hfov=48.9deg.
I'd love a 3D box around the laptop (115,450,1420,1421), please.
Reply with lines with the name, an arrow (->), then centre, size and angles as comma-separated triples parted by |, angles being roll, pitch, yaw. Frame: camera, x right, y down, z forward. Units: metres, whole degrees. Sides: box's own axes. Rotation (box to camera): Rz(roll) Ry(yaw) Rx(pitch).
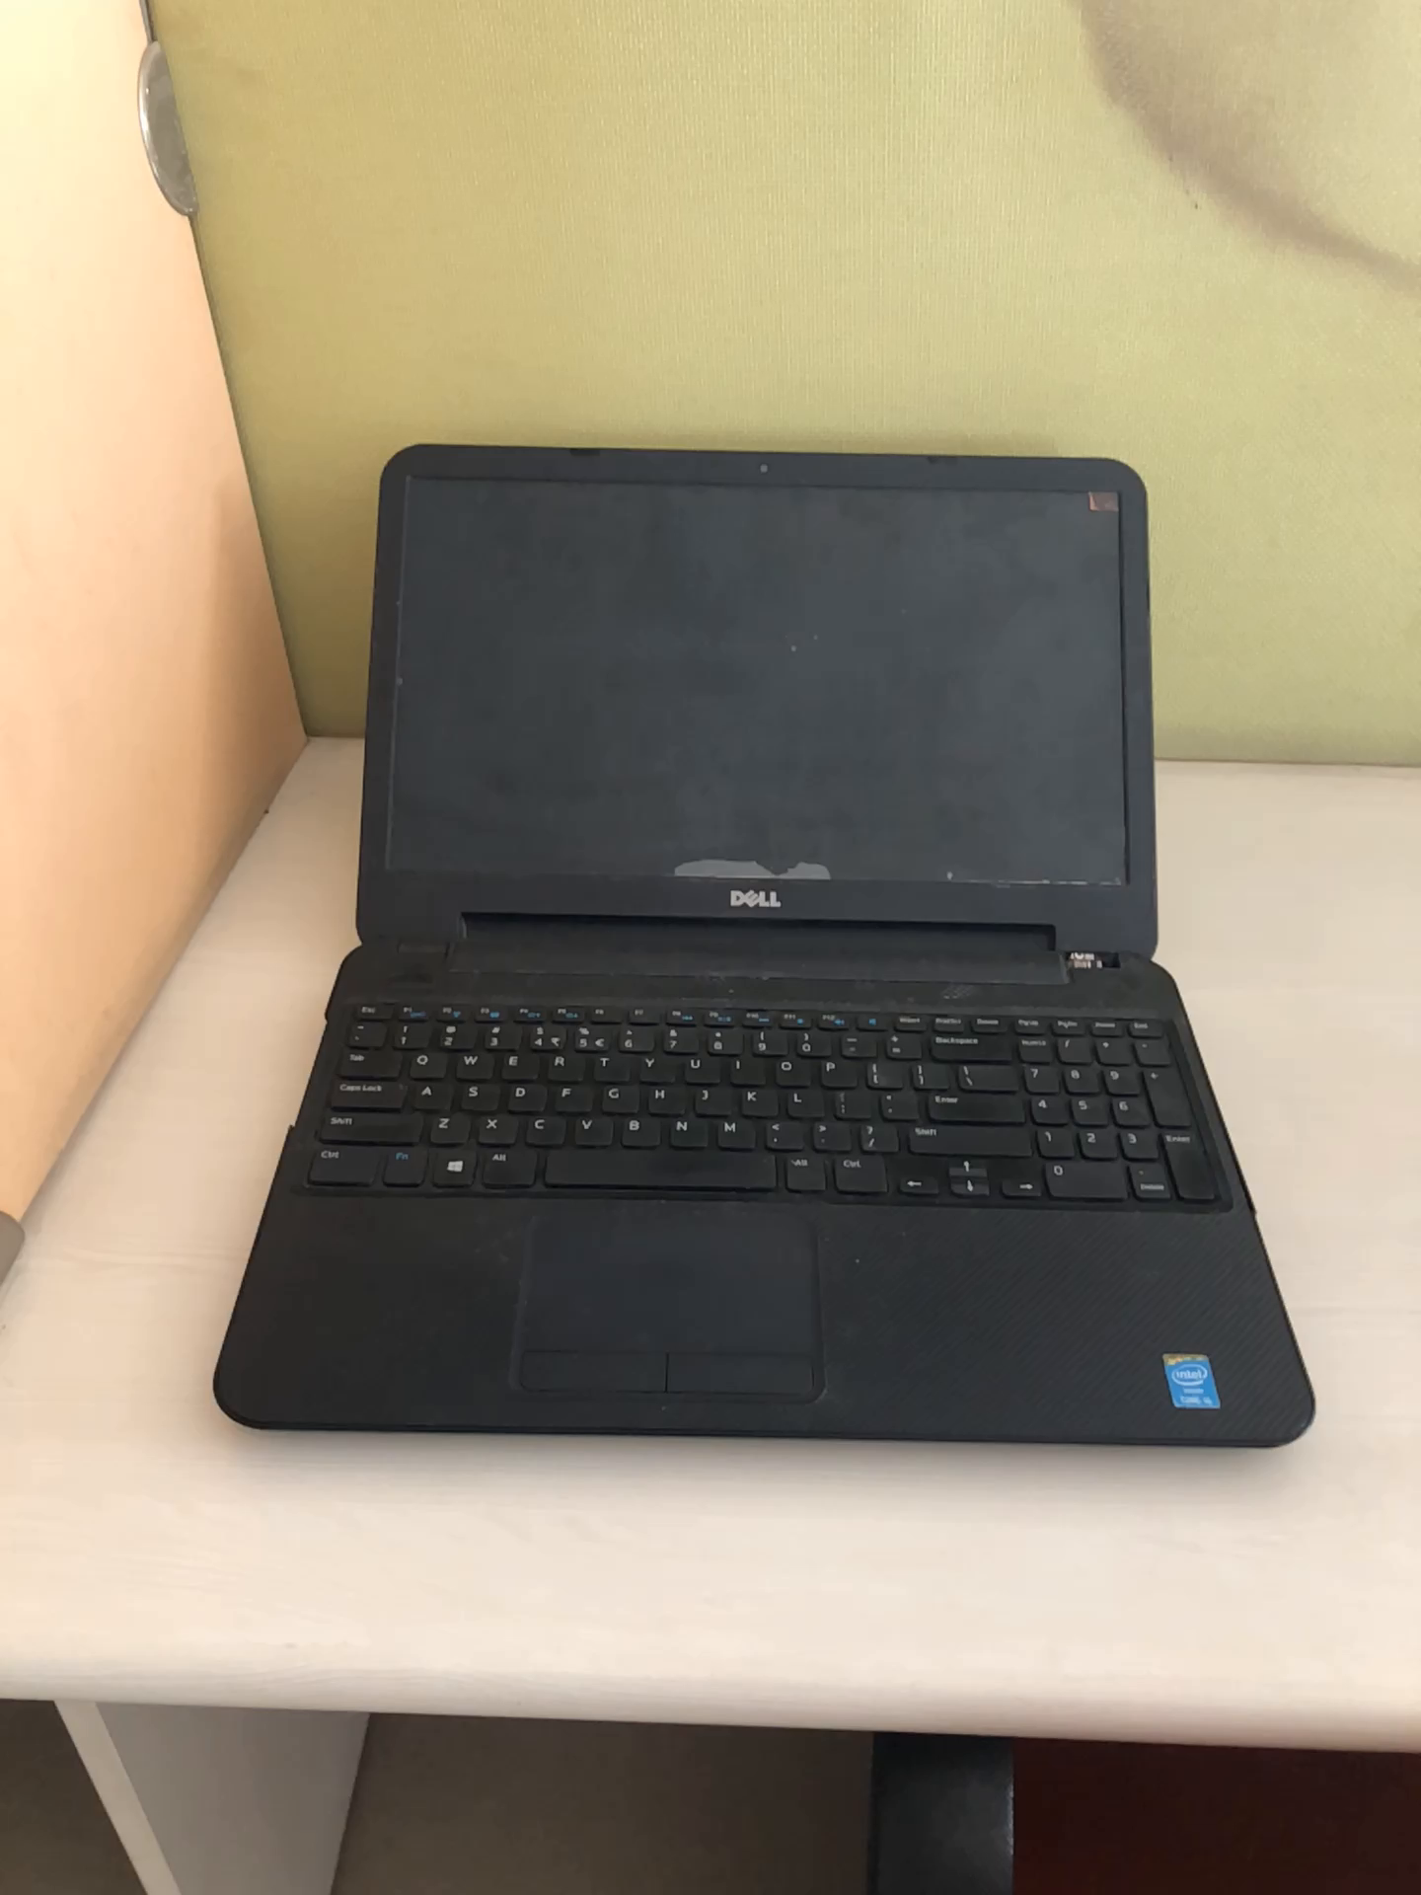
laptop -> 0.023, -0.042, 0.635 | 0.356, 0.165, 0.427 | 1, 37, 0
